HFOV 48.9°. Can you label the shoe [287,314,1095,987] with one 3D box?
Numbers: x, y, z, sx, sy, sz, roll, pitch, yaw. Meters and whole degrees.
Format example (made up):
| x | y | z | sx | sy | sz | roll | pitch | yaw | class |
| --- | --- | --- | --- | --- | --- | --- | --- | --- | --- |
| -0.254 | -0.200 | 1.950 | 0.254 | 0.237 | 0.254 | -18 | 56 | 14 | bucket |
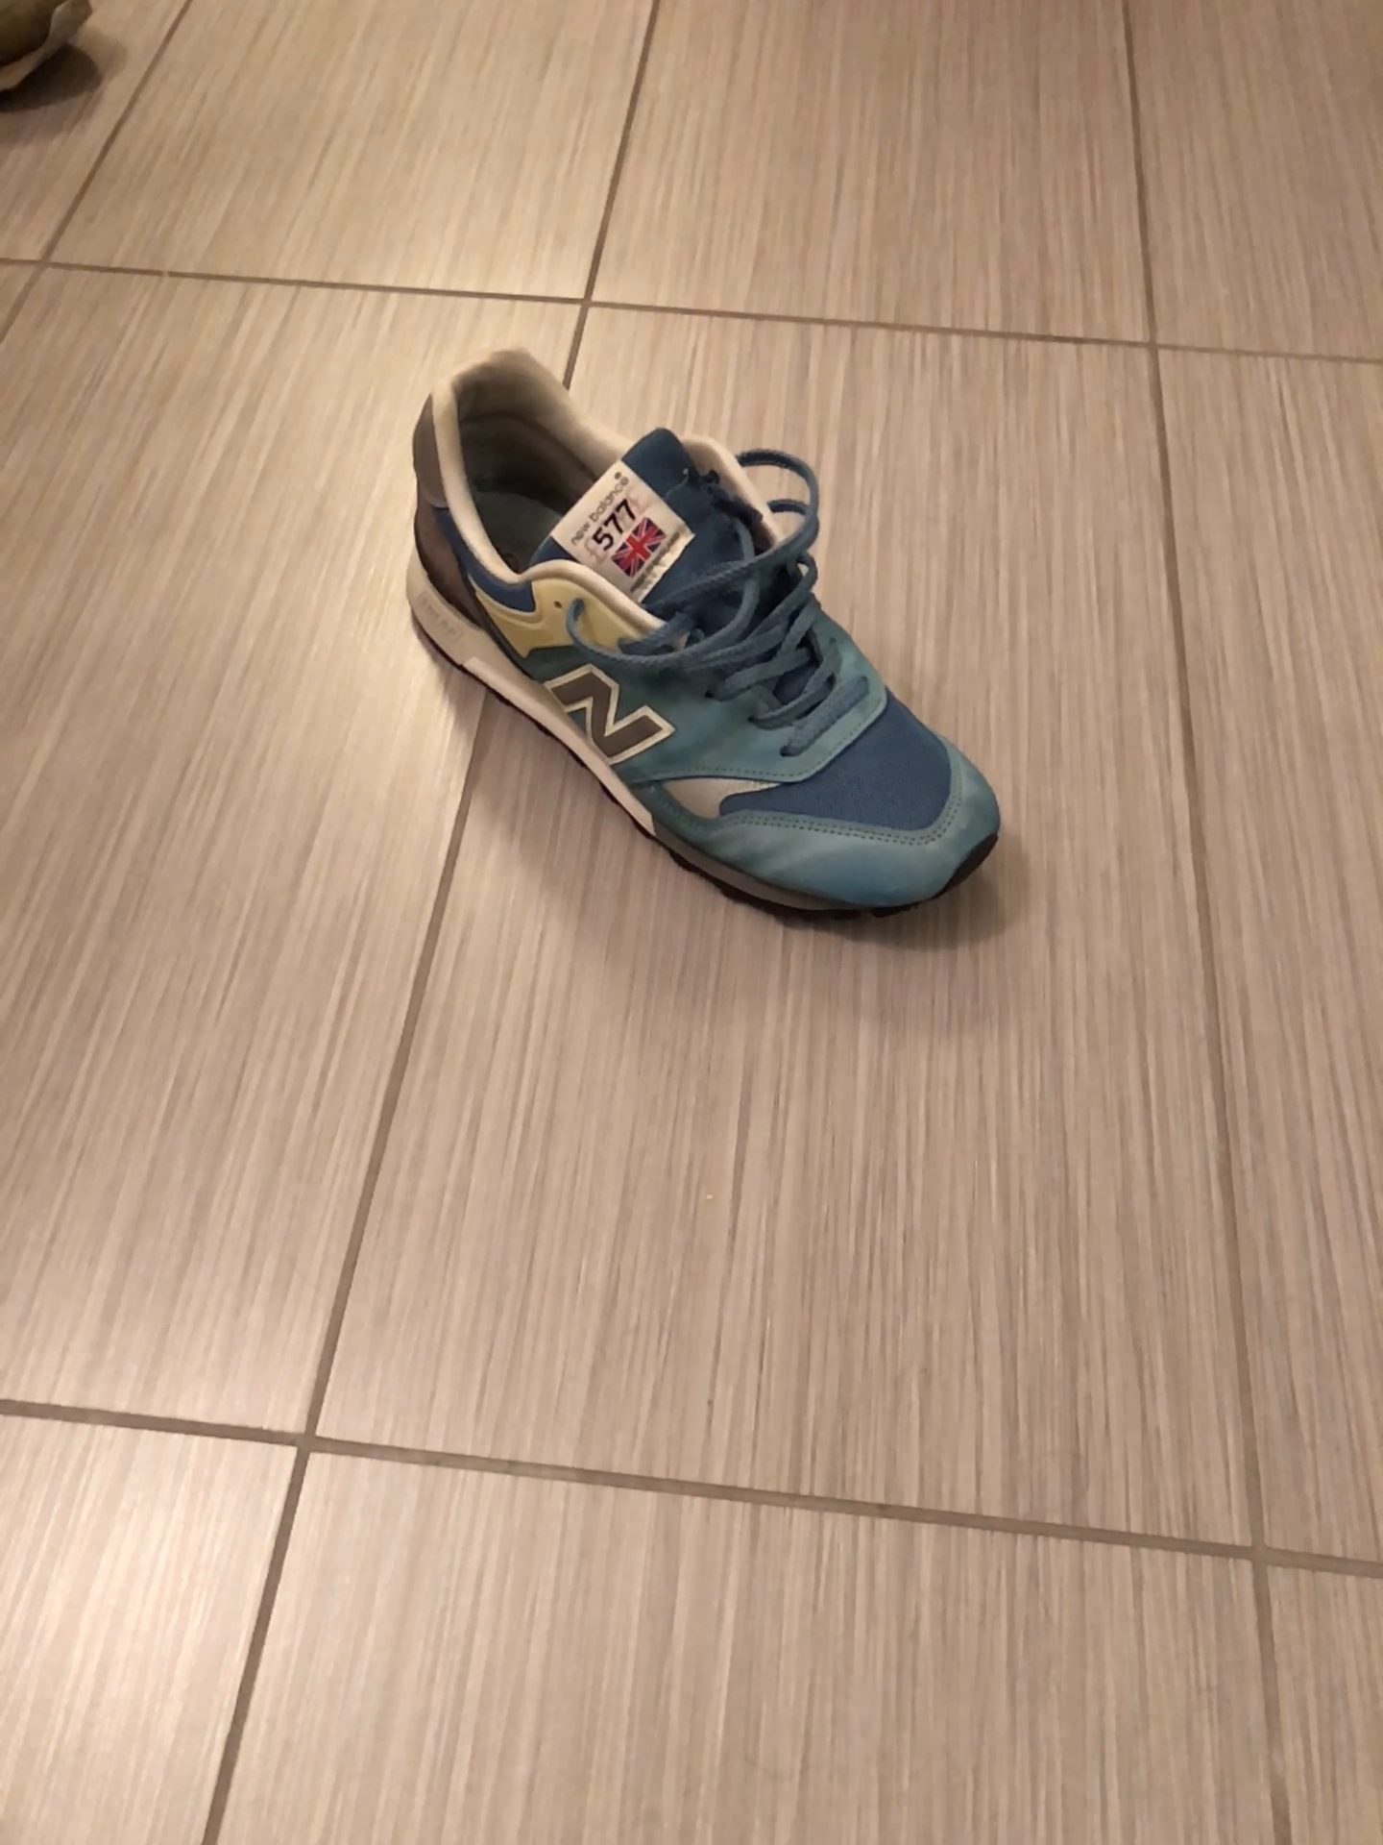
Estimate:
| x | y | z | sx | sy | sz | roll | pitch | yaw | class |
| --- | --- | --- | --- | --- | --- | --- | --- | --- | --- |
| -0.008 | -0.121 | 0.610 | 0.300 | 0.070 | 0.130 | 38 | 65 | 22 | shoe |
